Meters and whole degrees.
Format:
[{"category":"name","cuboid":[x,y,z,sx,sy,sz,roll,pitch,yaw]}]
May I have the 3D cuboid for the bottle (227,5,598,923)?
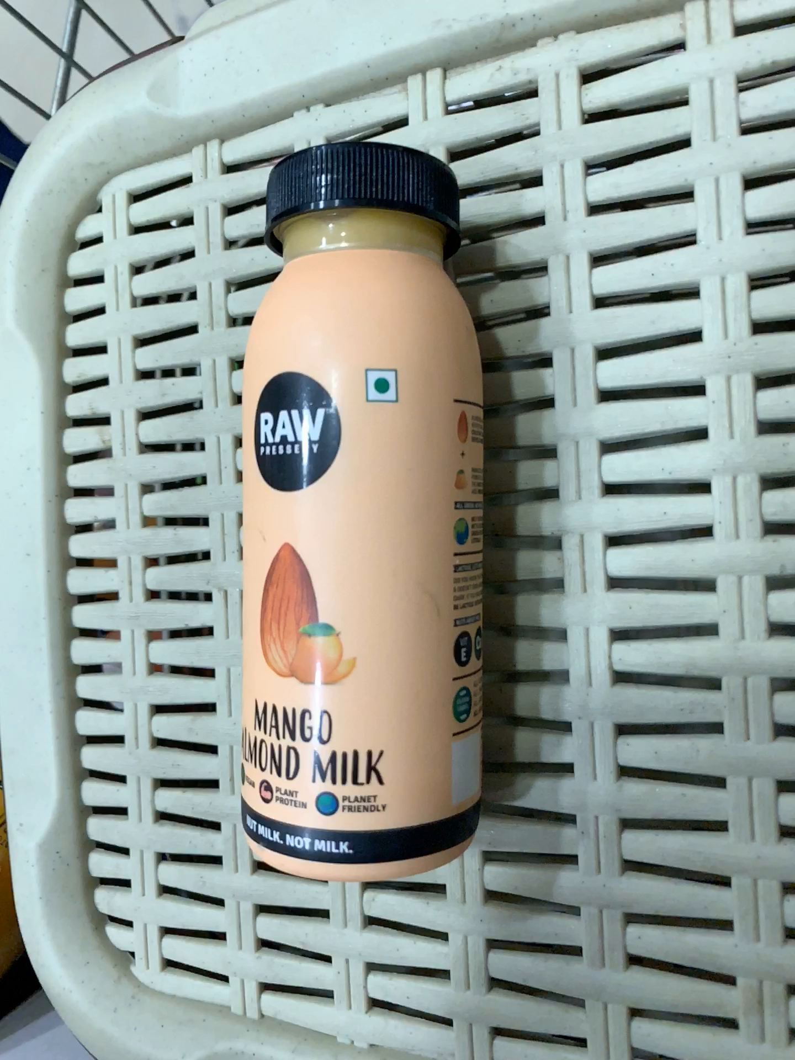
[{"category":"bottle","cuboid":[0.004,-0.011,0.165,0.060,0.040,0.150,2,91,22]}]
